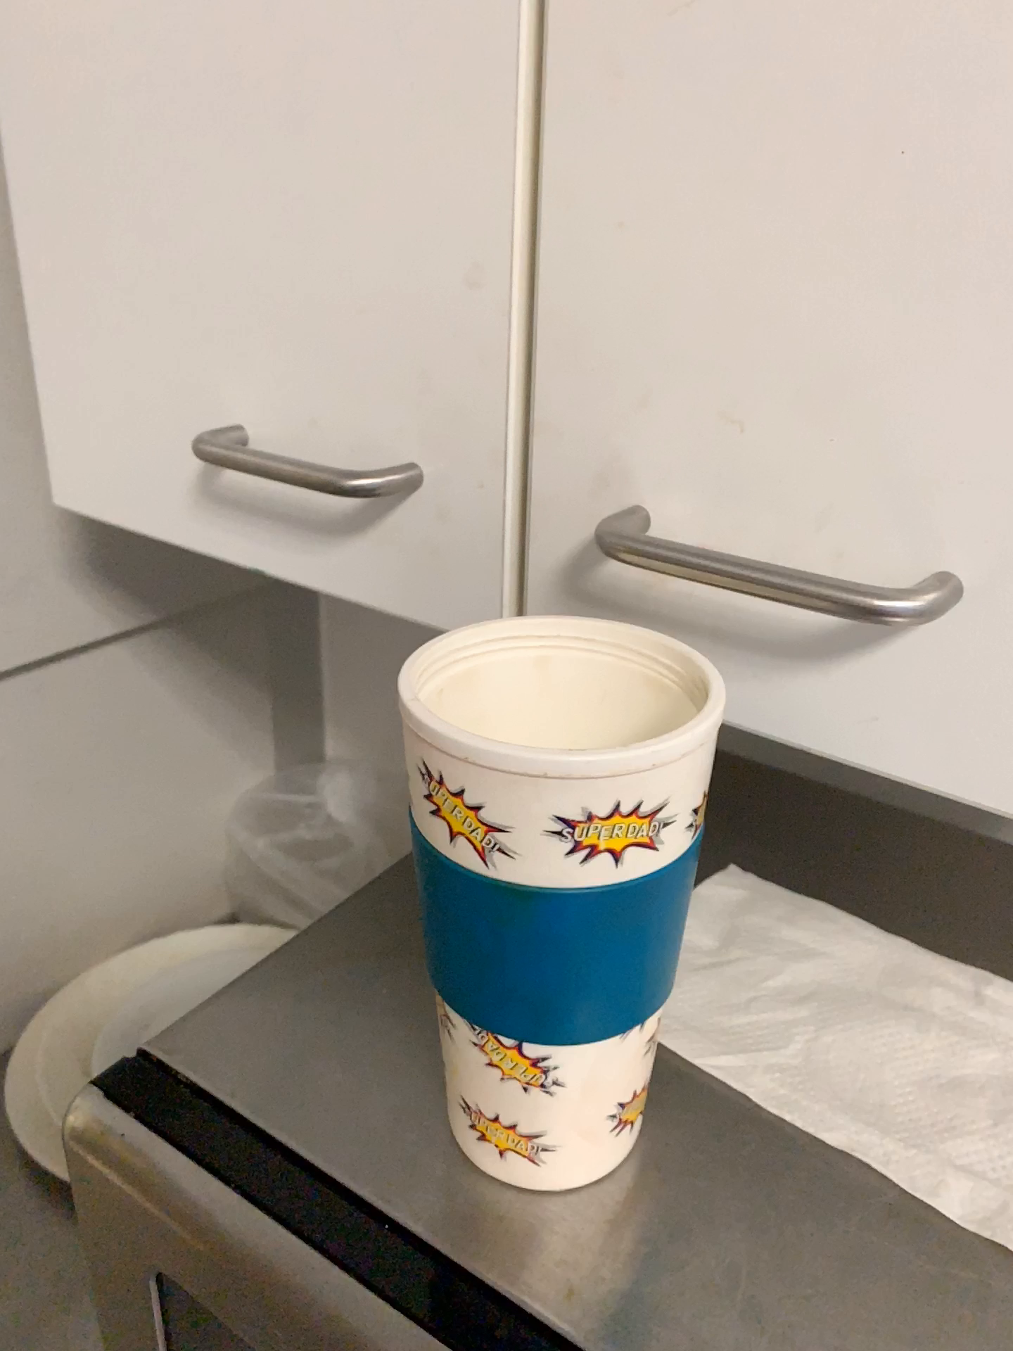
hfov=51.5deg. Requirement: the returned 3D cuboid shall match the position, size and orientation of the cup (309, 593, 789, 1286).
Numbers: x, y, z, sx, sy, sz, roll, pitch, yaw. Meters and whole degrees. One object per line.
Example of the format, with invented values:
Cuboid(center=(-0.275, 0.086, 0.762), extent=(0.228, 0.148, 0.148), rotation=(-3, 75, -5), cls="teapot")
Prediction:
Cuboid(center=(0.013, 0.067, 0.310), extent=(0.093, 0.146, 0.097), rotation=(1, 23, -1), cls="cup")
